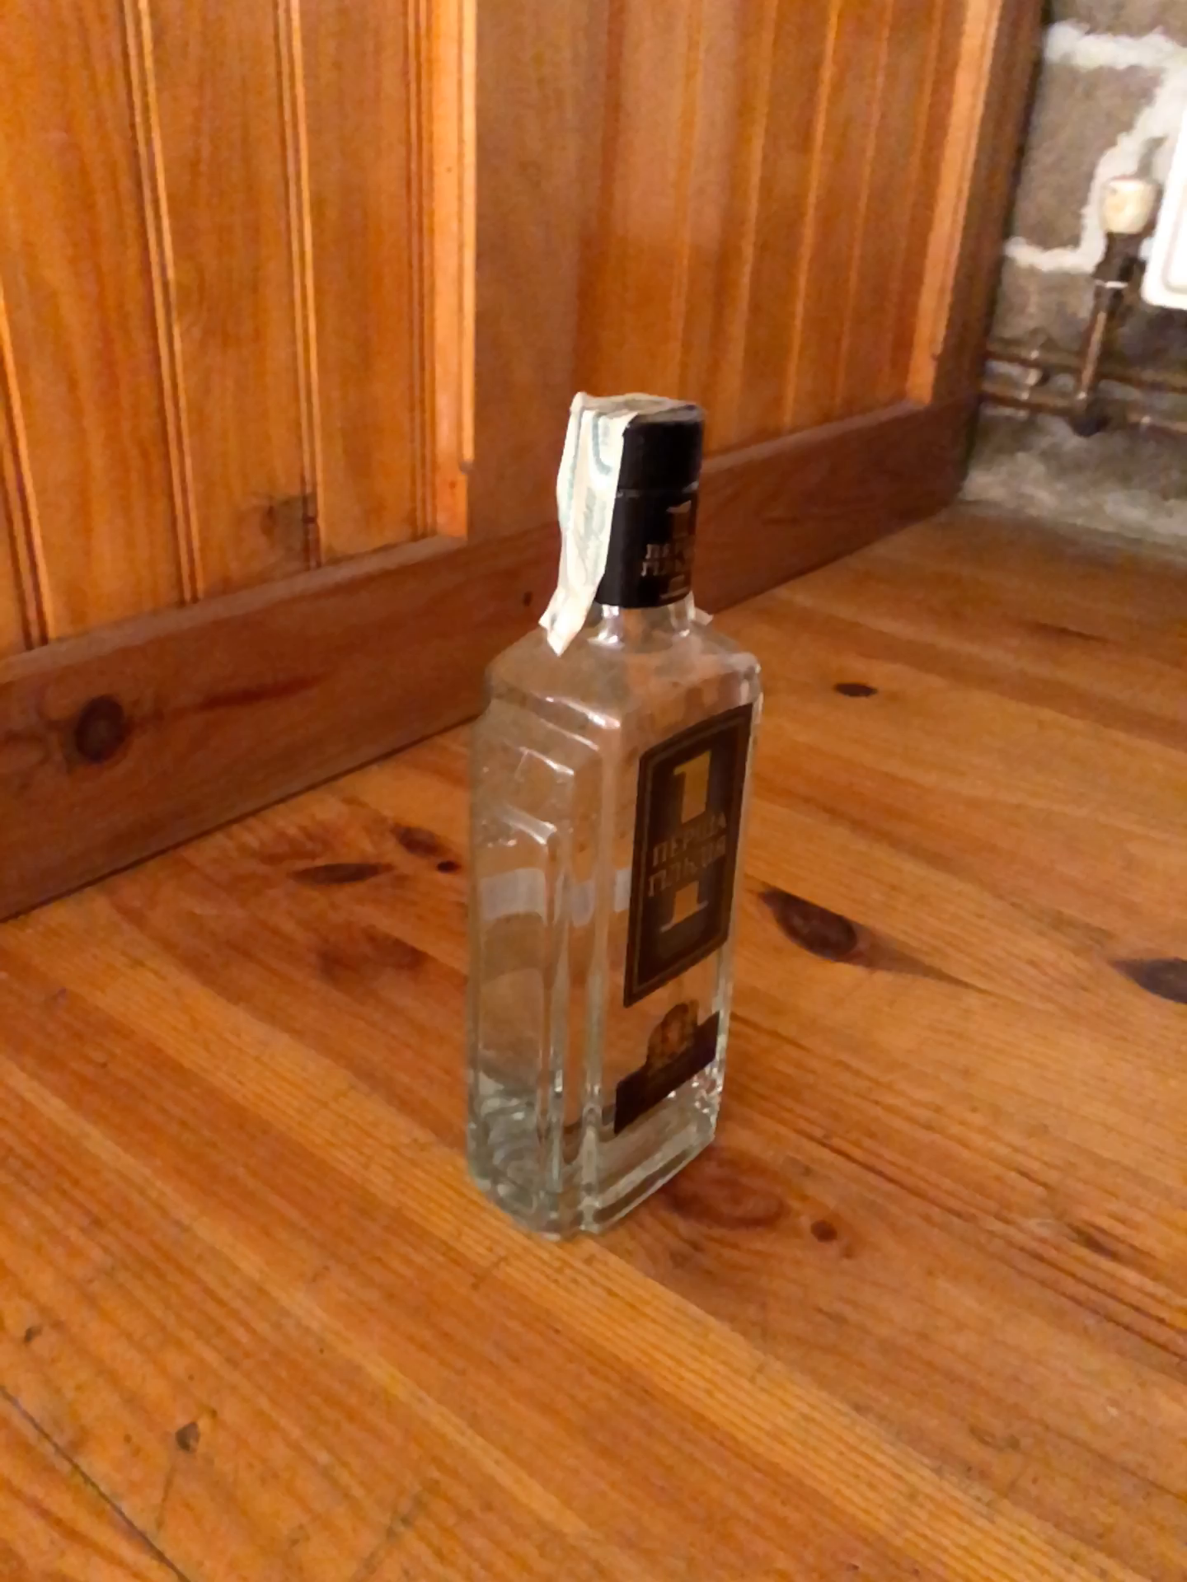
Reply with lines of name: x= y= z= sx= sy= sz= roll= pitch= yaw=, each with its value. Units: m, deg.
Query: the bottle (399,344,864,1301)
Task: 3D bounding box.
bottle: x=0.005 y=0.011 z=0.372 sx=0.060 sy=0.249 sz=0.101 roll=27 pitch=35 yaw=37
